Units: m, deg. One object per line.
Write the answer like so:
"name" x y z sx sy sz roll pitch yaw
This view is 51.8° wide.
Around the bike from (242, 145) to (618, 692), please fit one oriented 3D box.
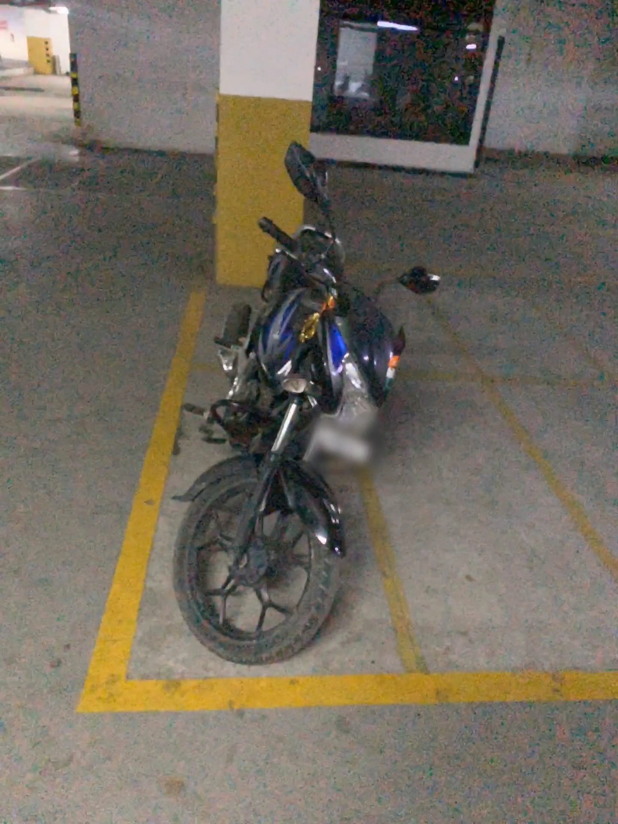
"bike" 0.245 -0.248 2.528 0.850 1.206 2.221 1 28 -9
